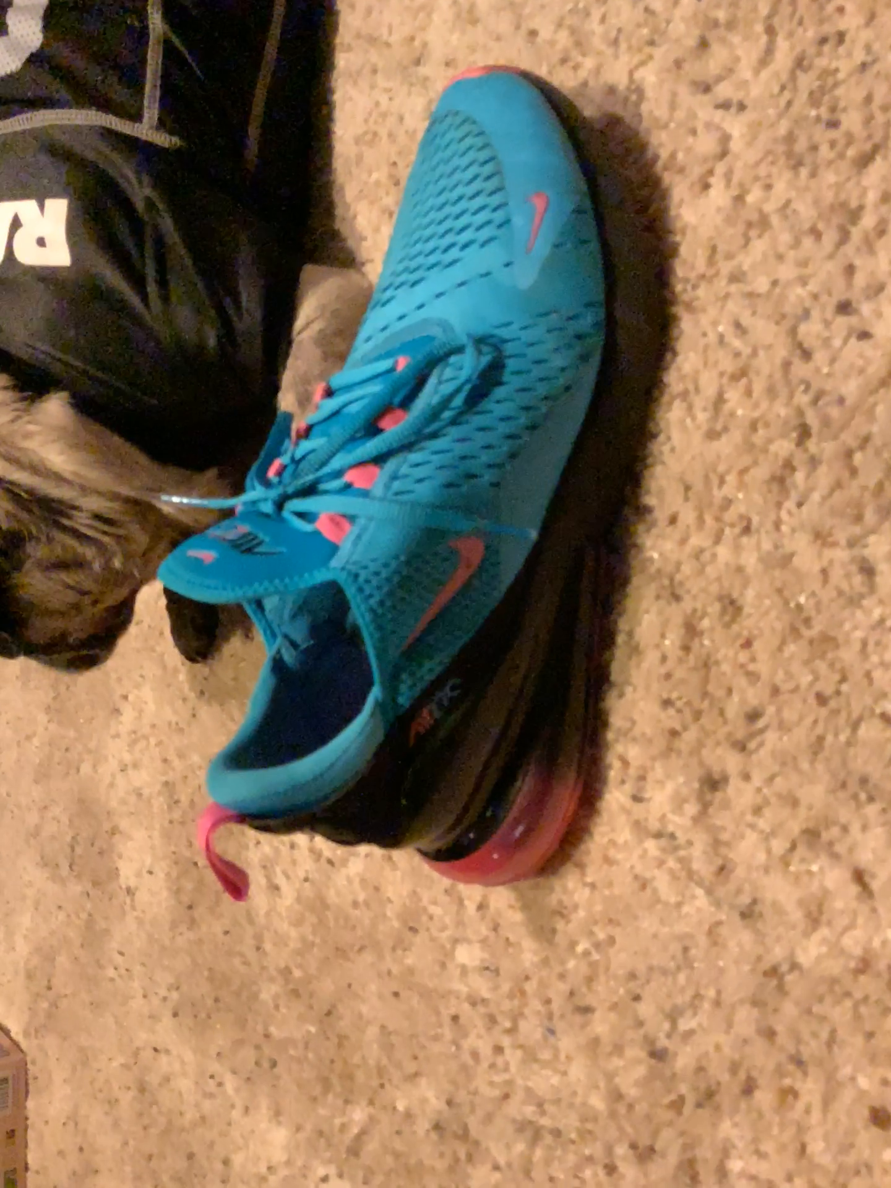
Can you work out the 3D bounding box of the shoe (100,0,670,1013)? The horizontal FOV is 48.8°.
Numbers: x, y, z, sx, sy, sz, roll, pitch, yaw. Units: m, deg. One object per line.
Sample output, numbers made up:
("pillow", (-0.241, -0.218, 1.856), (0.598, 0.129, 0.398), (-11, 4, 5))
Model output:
("shoe", (-0.027, -0.052, 0.369), (0.130, 0.140, 0.340), (7, 93, 53))
